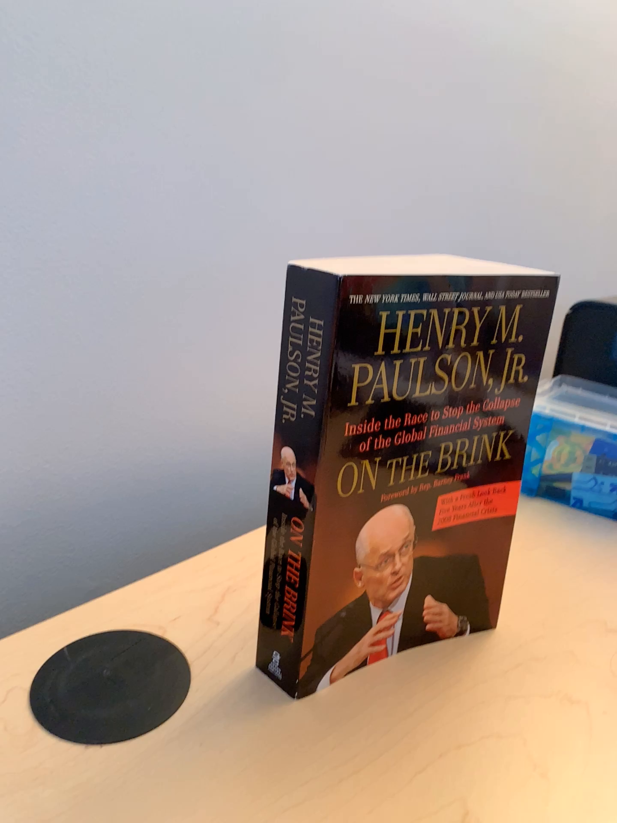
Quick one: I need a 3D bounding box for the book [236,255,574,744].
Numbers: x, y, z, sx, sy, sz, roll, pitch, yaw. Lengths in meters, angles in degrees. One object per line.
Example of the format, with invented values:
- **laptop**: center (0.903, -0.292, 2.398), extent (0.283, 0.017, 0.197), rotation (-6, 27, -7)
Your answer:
- **book**: center (0.053, 0.032, 0.366), extent (0.167, 0.228, 0.082), rotation (-12, 24, -41)
